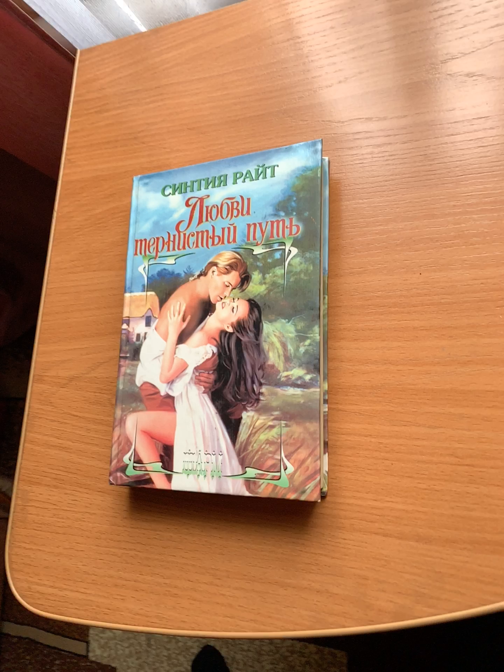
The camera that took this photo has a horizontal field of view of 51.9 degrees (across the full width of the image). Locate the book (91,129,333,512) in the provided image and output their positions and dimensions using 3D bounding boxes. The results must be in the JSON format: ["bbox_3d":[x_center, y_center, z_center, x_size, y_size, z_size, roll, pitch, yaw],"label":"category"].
[{"bbox_3d":[-0.024,-0.010,0.320,0.140,0.030,0.210,-2,79,23],"label":"book"}]
